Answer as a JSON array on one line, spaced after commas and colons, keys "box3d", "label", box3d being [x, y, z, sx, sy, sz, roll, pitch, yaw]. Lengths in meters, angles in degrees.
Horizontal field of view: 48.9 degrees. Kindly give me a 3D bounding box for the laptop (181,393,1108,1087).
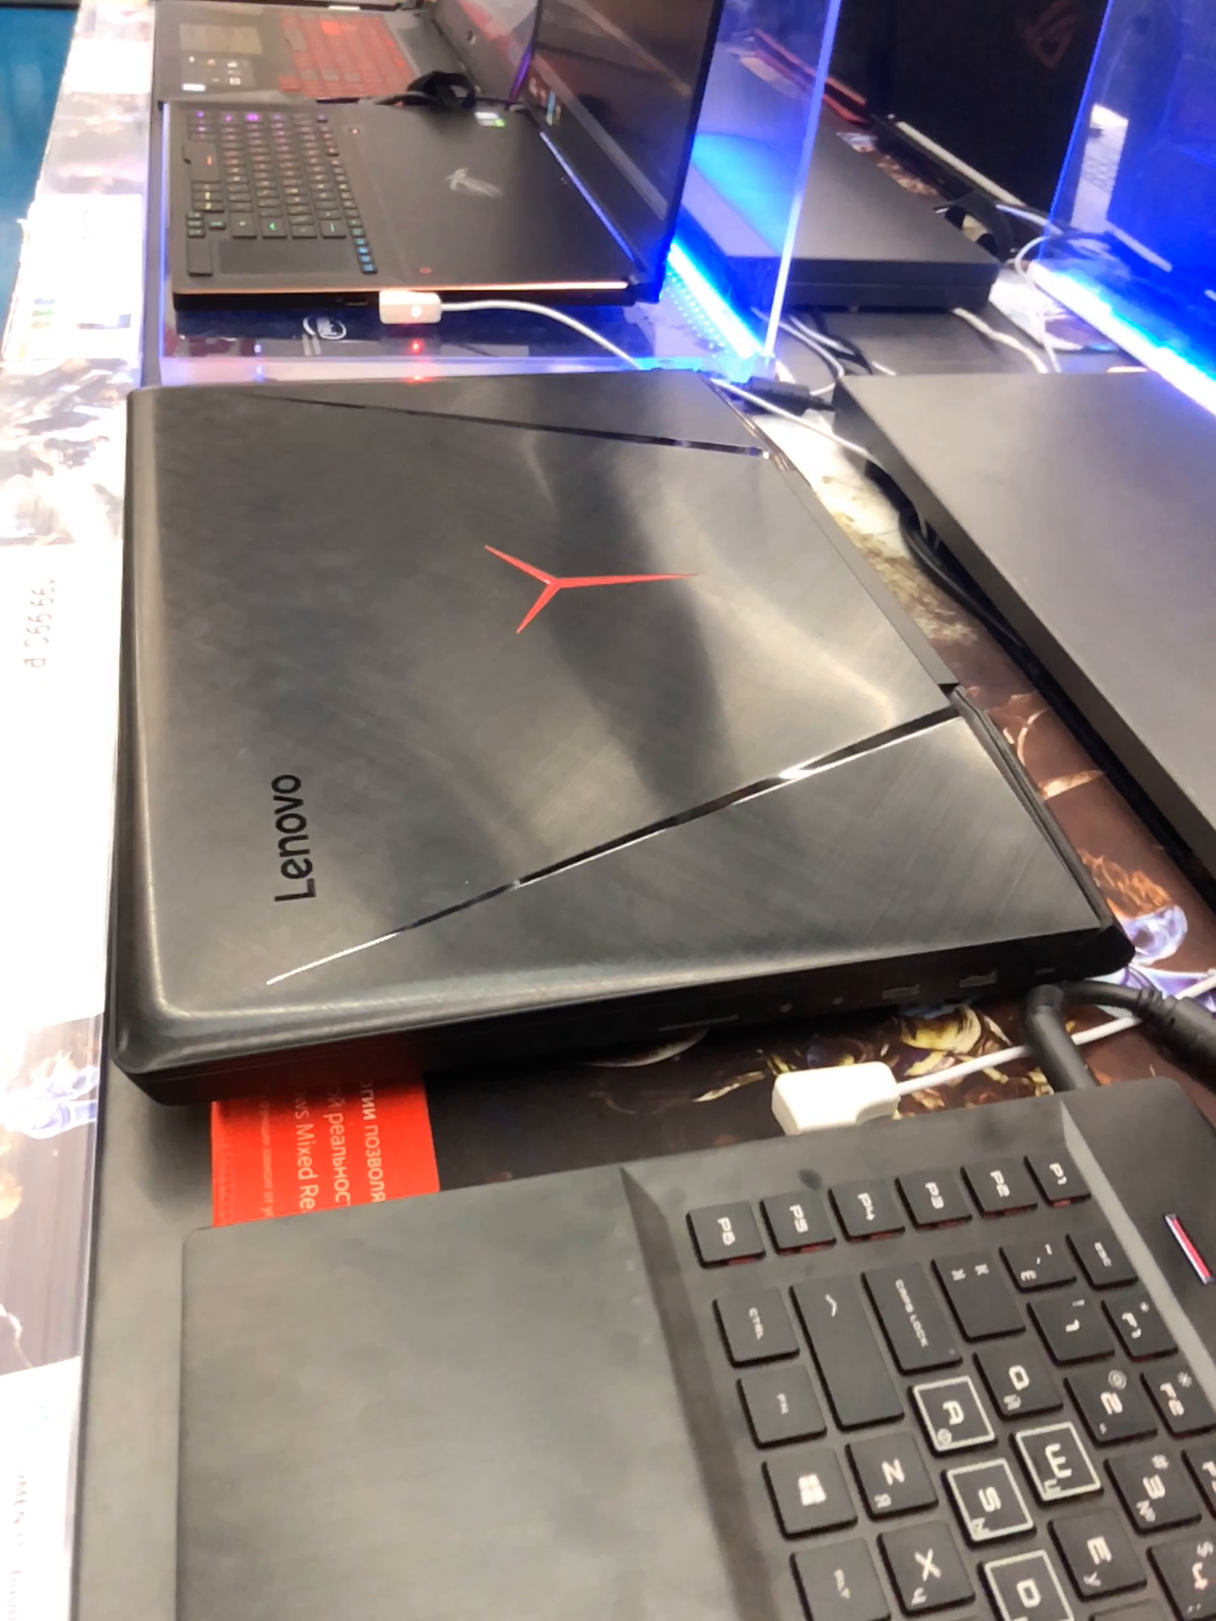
[{"box3d": [-0.026, -0.073, 0.526, 0.269, 0.005, 0.401, -6, 42, -13], "label": "laptop"}]
